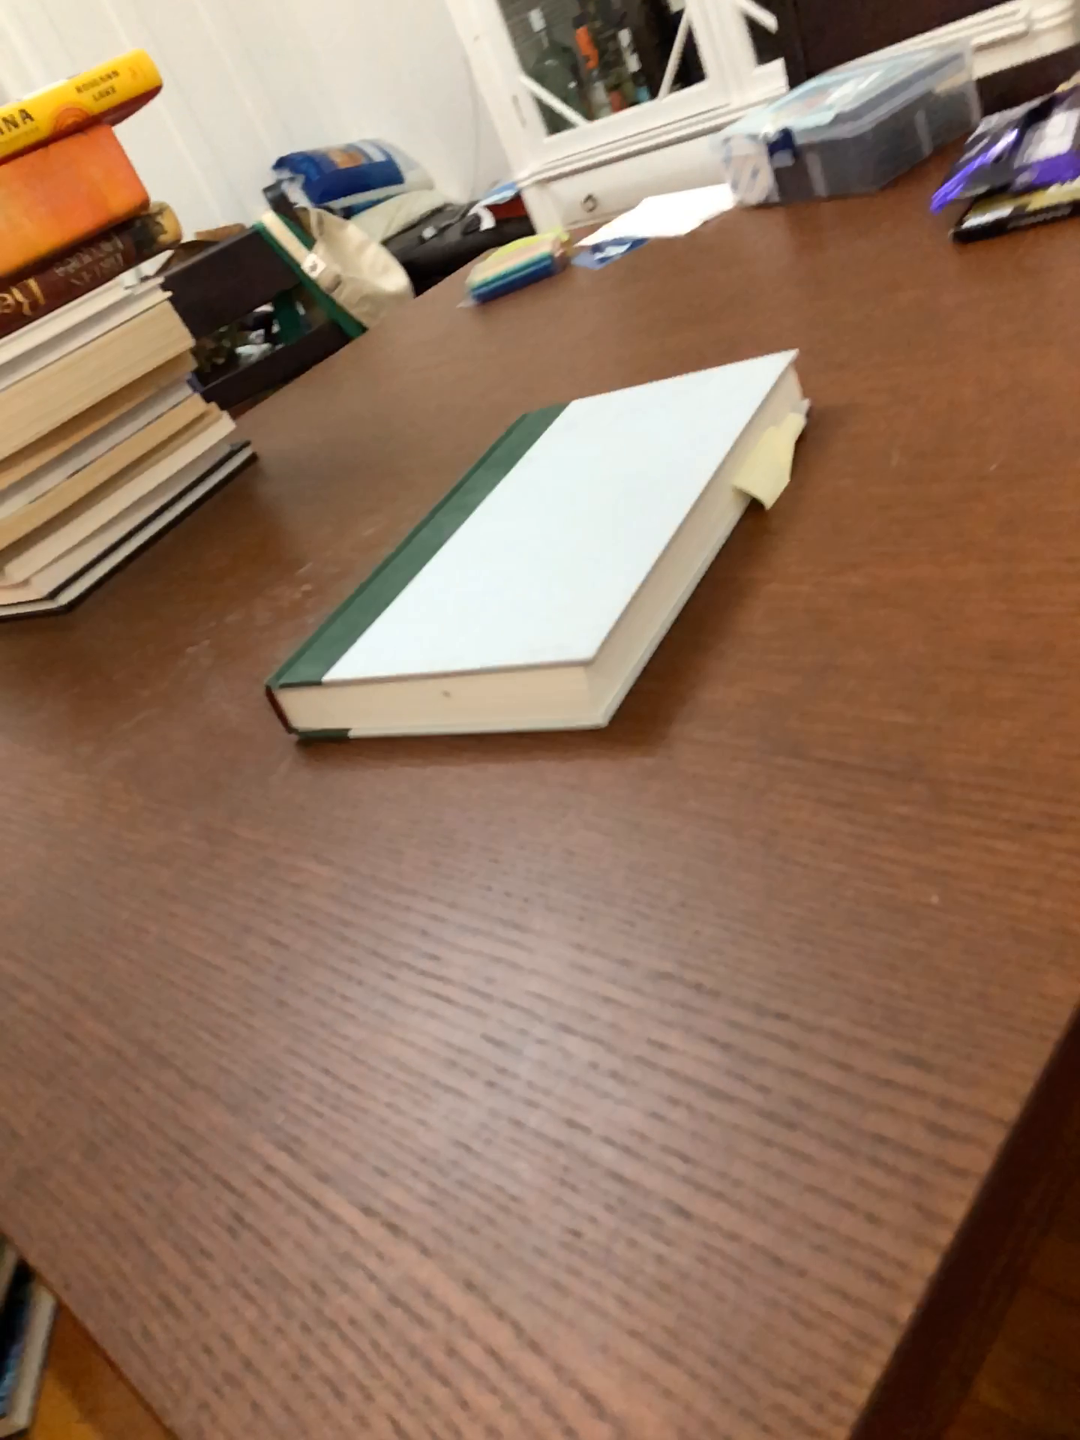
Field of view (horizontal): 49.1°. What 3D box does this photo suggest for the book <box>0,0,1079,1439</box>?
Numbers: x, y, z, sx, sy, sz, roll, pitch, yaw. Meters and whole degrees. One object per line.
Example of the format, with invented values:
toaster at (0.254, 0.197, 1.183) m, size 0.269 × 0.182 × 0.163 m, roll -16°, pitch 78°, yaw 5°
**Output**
book at (-0.230, -0.199, 0.126) m, size 1.000 × 0.994 × 1.005 m, roll -15°, pitch 31°, yaw 20°
